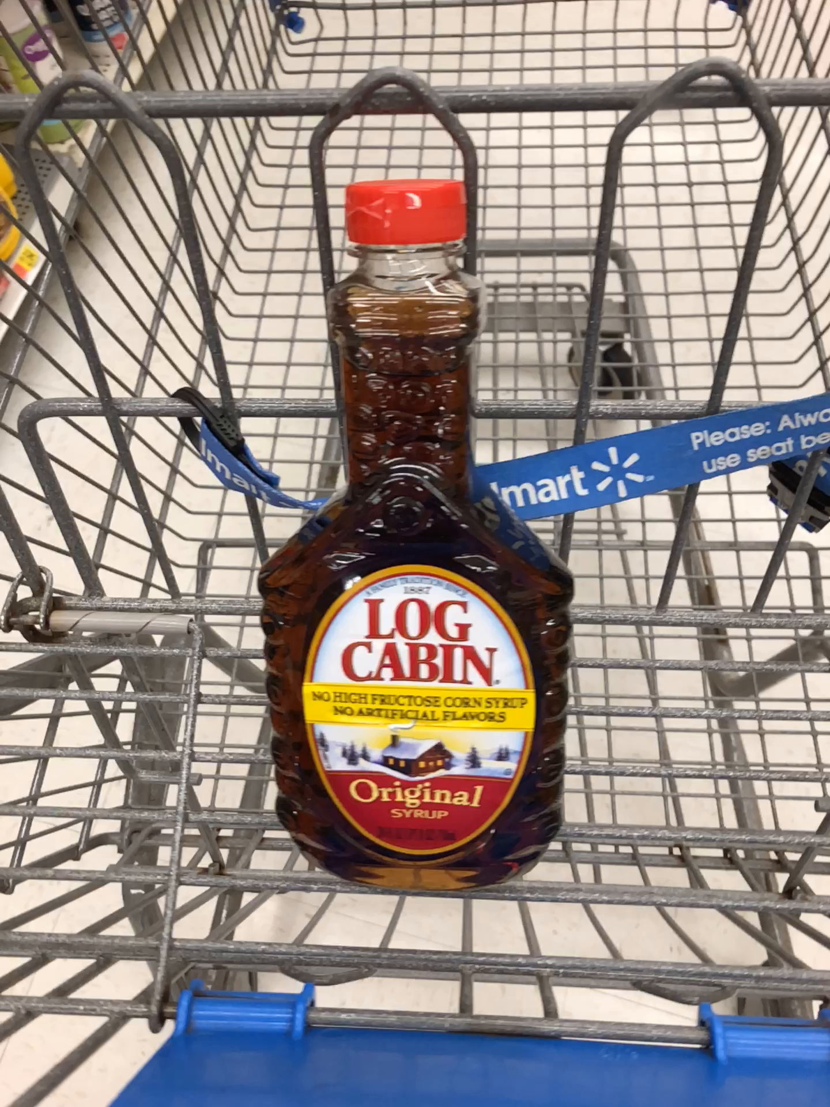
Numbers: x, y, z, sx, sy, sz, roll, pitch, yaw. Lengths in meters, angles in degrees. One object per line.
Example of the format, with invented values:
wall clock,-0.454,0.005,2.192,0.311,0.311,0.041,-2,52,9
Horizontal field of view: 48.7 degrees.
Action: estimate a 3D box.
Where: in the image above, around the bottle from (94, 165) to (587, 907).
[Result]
bottle,-0.013,0.006,0.303,0.120,0.240,0.060,0,27,4
